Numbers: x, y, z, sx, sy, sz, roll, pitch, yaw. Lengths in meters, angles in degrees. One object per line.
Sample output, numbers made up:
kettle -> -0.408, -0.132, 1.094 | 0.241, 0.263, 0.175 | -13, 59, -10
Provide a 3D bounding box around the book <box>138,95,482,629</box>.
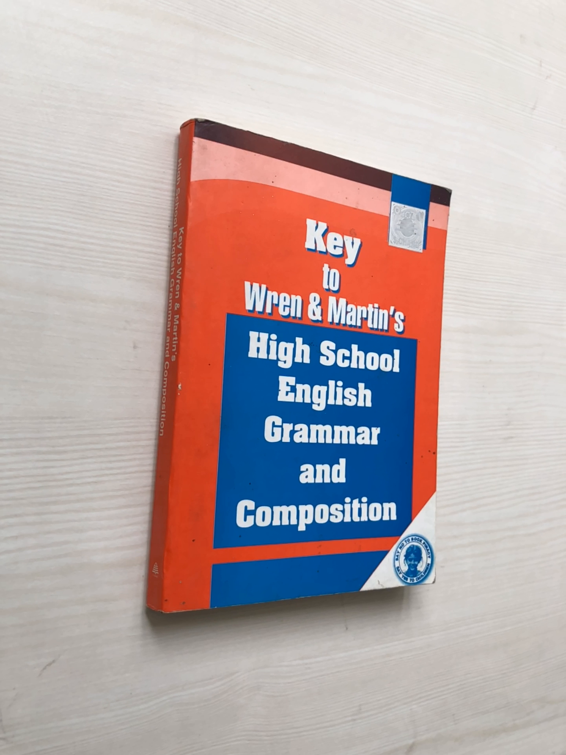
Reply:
book -> 0.018, -0.001, 0.247 | 0.130, 0.030, 0.170 | 6, 85, -31
